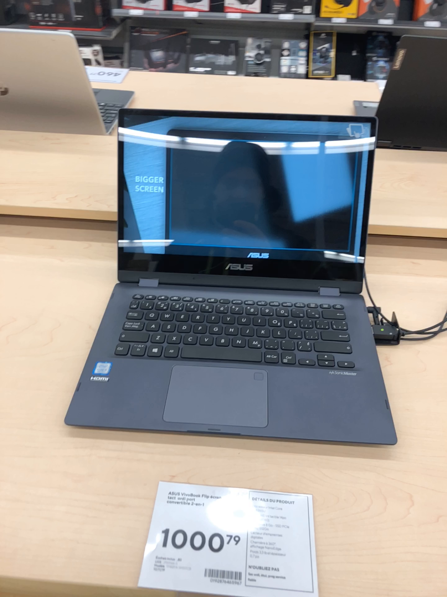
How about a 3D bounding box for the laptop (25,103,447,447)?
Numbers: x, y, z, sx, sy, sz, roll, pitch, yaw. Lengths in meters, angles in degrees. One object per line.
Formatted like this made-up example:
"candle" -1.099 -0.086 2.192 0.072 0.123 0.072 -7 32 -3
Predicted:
"laptop" 0.015 -0.050 0.546 0.319 0.184 0.332 4 43 2
